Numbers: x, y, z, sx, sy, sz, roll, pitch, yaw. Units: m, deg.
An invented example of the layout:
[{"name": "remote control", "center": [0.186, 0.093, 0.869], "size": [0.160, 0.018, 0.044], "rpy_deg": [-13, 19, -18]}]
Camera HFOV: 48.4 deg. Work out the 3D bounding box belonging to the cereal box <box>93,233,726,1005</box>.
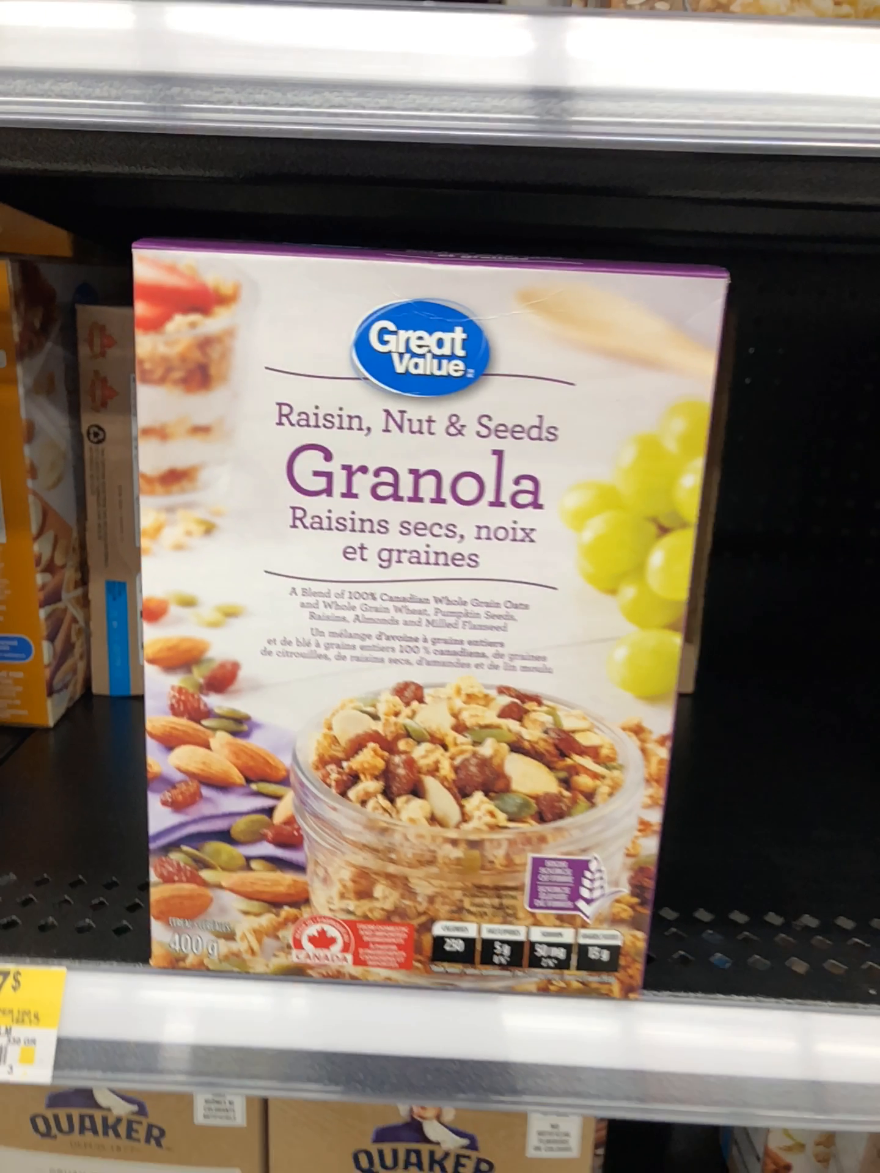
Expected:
[{"name": "cereal box", "center": [-0.011, 0.011, 0.305], "size": [0.160, 0.219, 0.060], "rpy_deg": [3, 15, 2]}]
